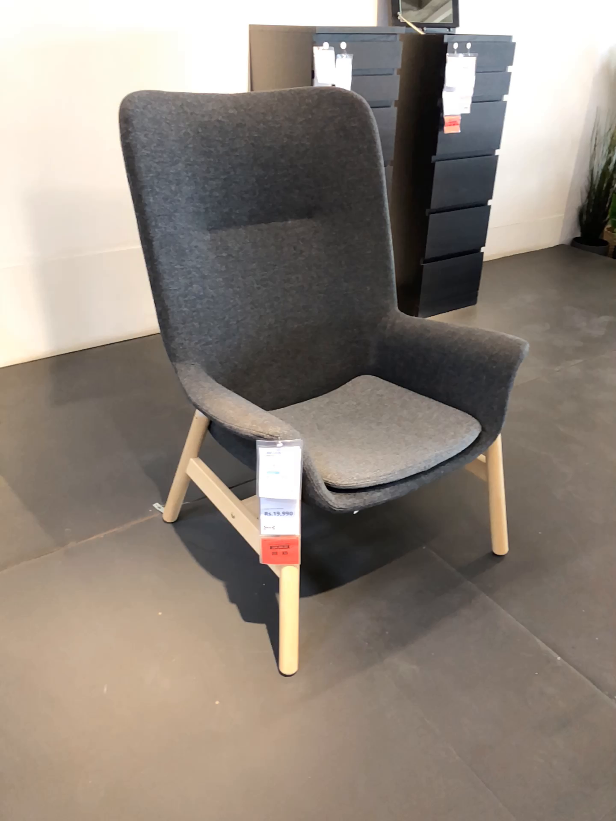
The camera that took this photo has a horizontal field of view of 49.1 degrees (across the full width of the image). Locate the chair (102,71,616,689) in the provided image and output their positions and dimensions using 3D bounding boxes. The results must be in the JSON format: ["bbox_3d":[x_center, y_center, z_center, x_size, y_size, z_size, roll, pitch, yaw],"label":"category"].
[{"bbox_3d":[0.077,-0.150,1.530,0.721,1.063,0.713,-18,34,-30],"label":"chair"}]
